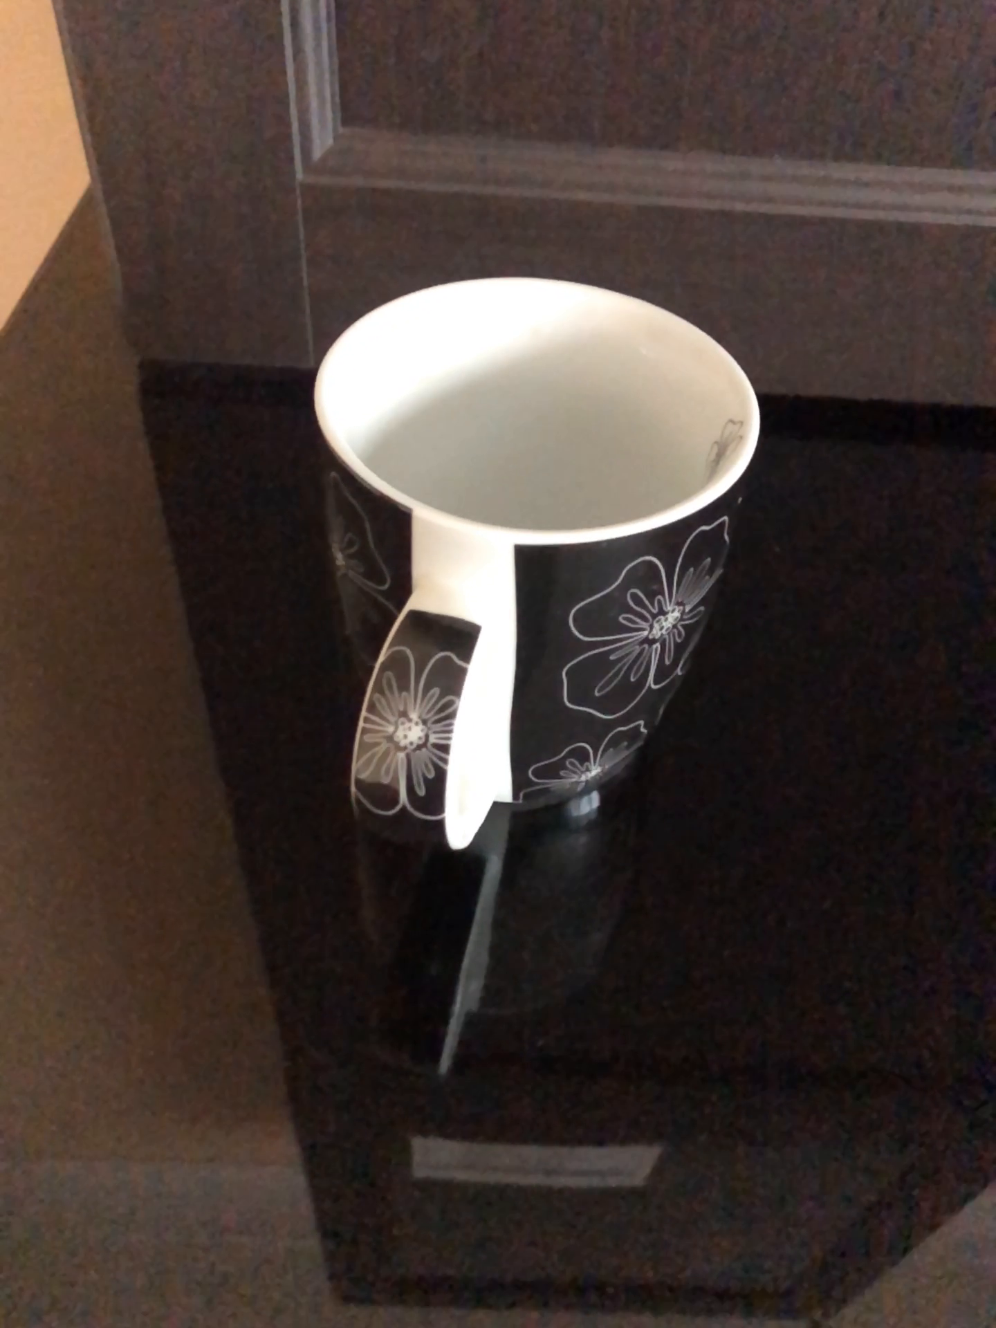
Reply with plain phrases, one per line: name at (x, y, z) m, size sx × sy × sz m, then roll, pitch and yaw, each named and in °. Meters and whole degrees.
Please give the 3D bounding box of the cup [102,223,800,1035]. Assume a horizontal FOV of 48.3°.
cup at (0.000, -0.012, 0.225) m, size 0.090 × 0.089 × 0.121 m, roll 13°, pitch 48°, yaw 8°
